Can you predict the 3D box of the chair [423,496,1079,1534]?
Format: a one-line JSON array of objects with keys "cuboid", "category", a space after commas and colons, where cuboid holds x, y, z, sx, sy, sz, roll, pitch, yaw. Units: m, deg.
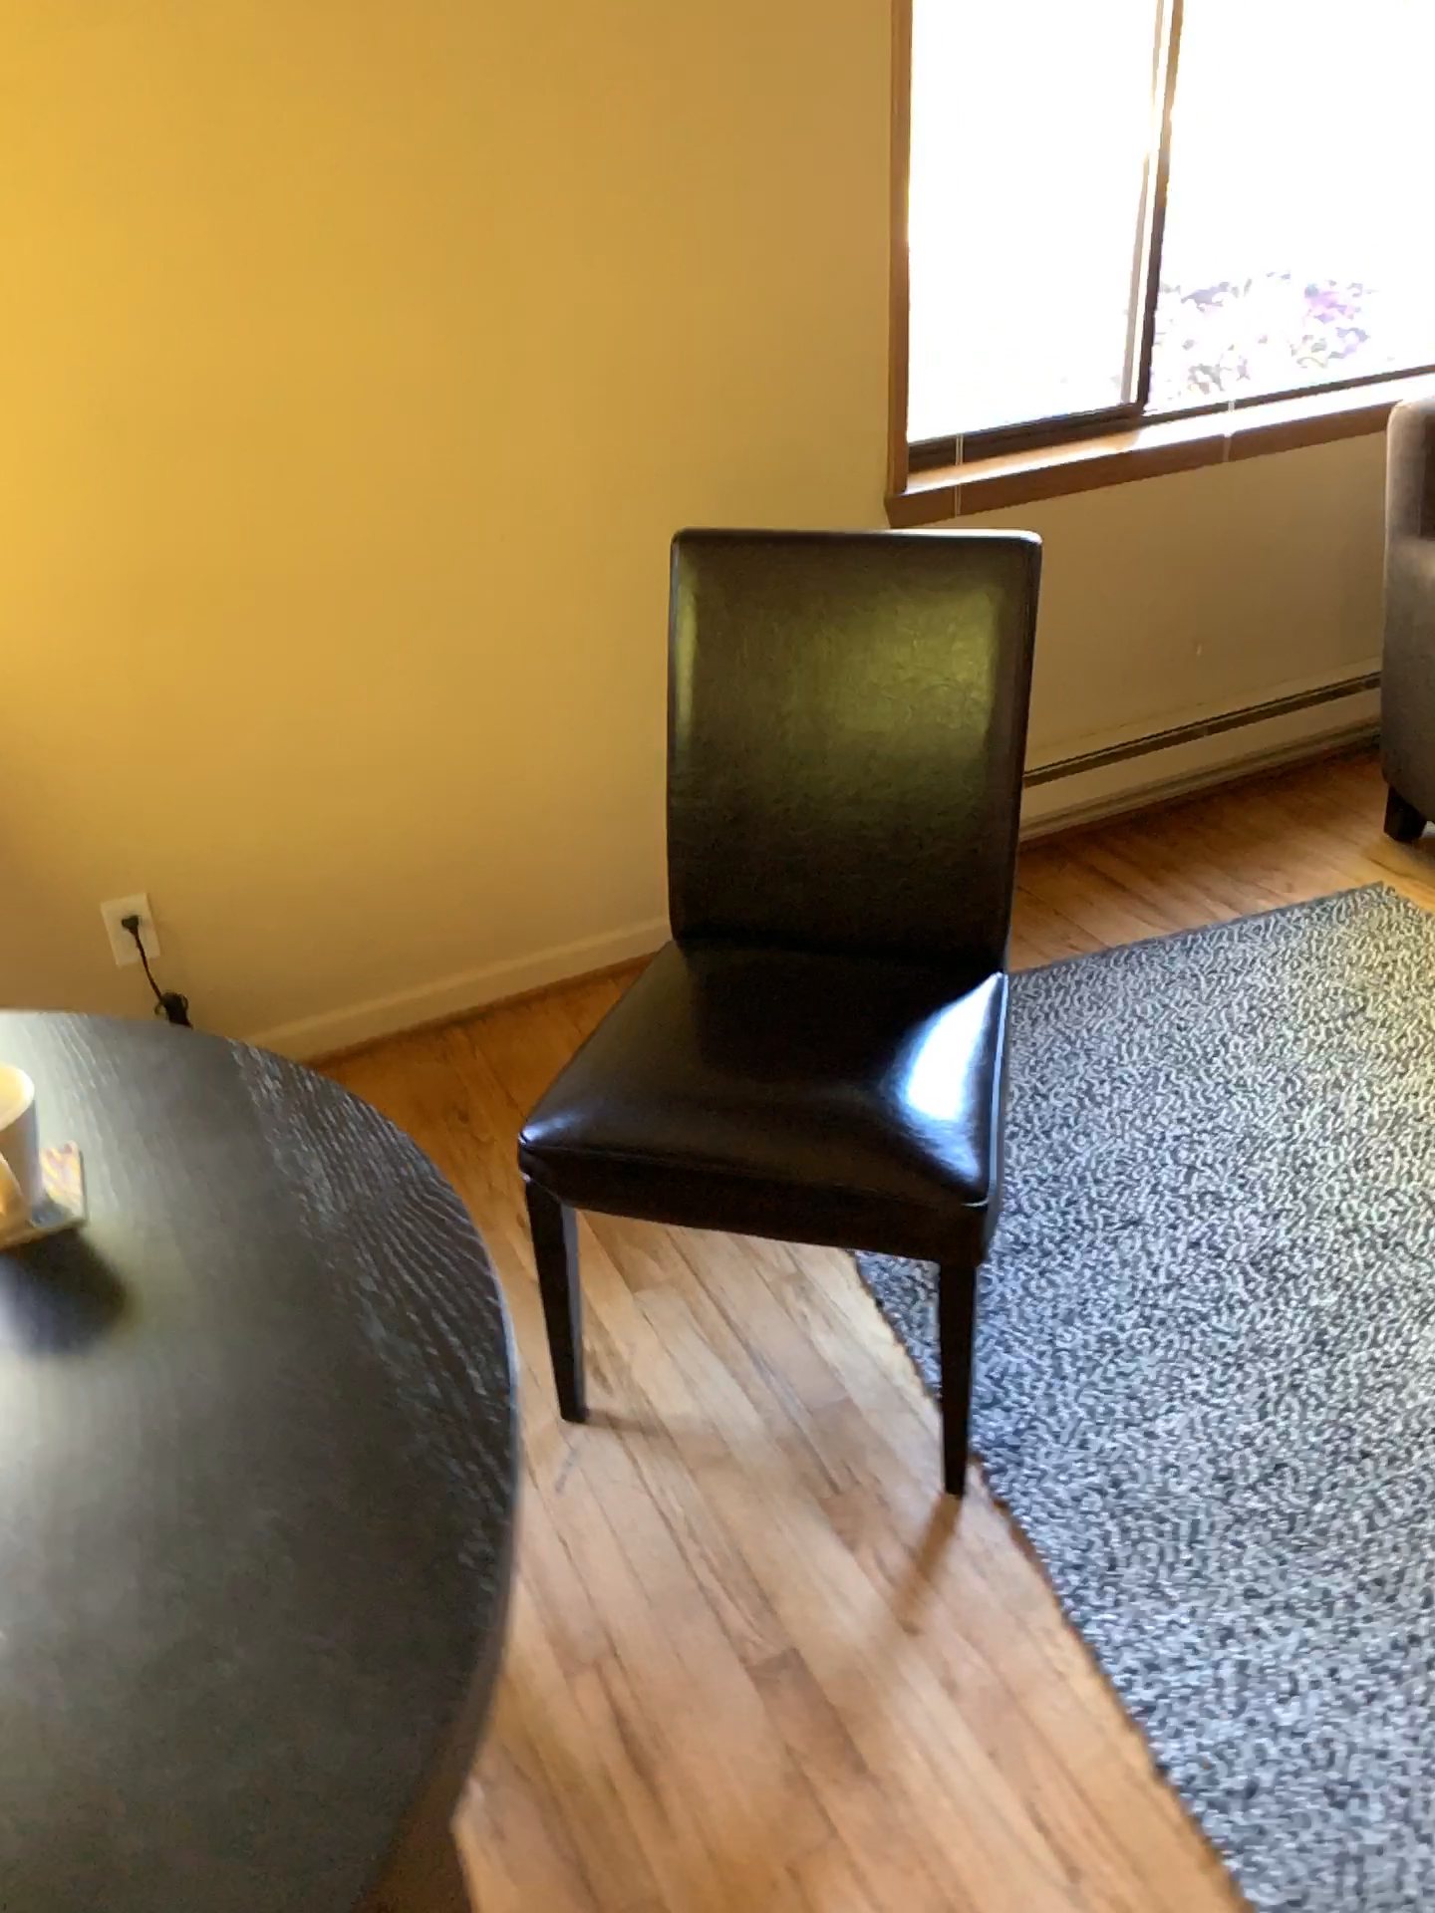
[{"cuboid": [0.108, 0.046, 1.810, 0.561, 1.033, 0.674, 5, 32, 13], "category": "chair"}]
